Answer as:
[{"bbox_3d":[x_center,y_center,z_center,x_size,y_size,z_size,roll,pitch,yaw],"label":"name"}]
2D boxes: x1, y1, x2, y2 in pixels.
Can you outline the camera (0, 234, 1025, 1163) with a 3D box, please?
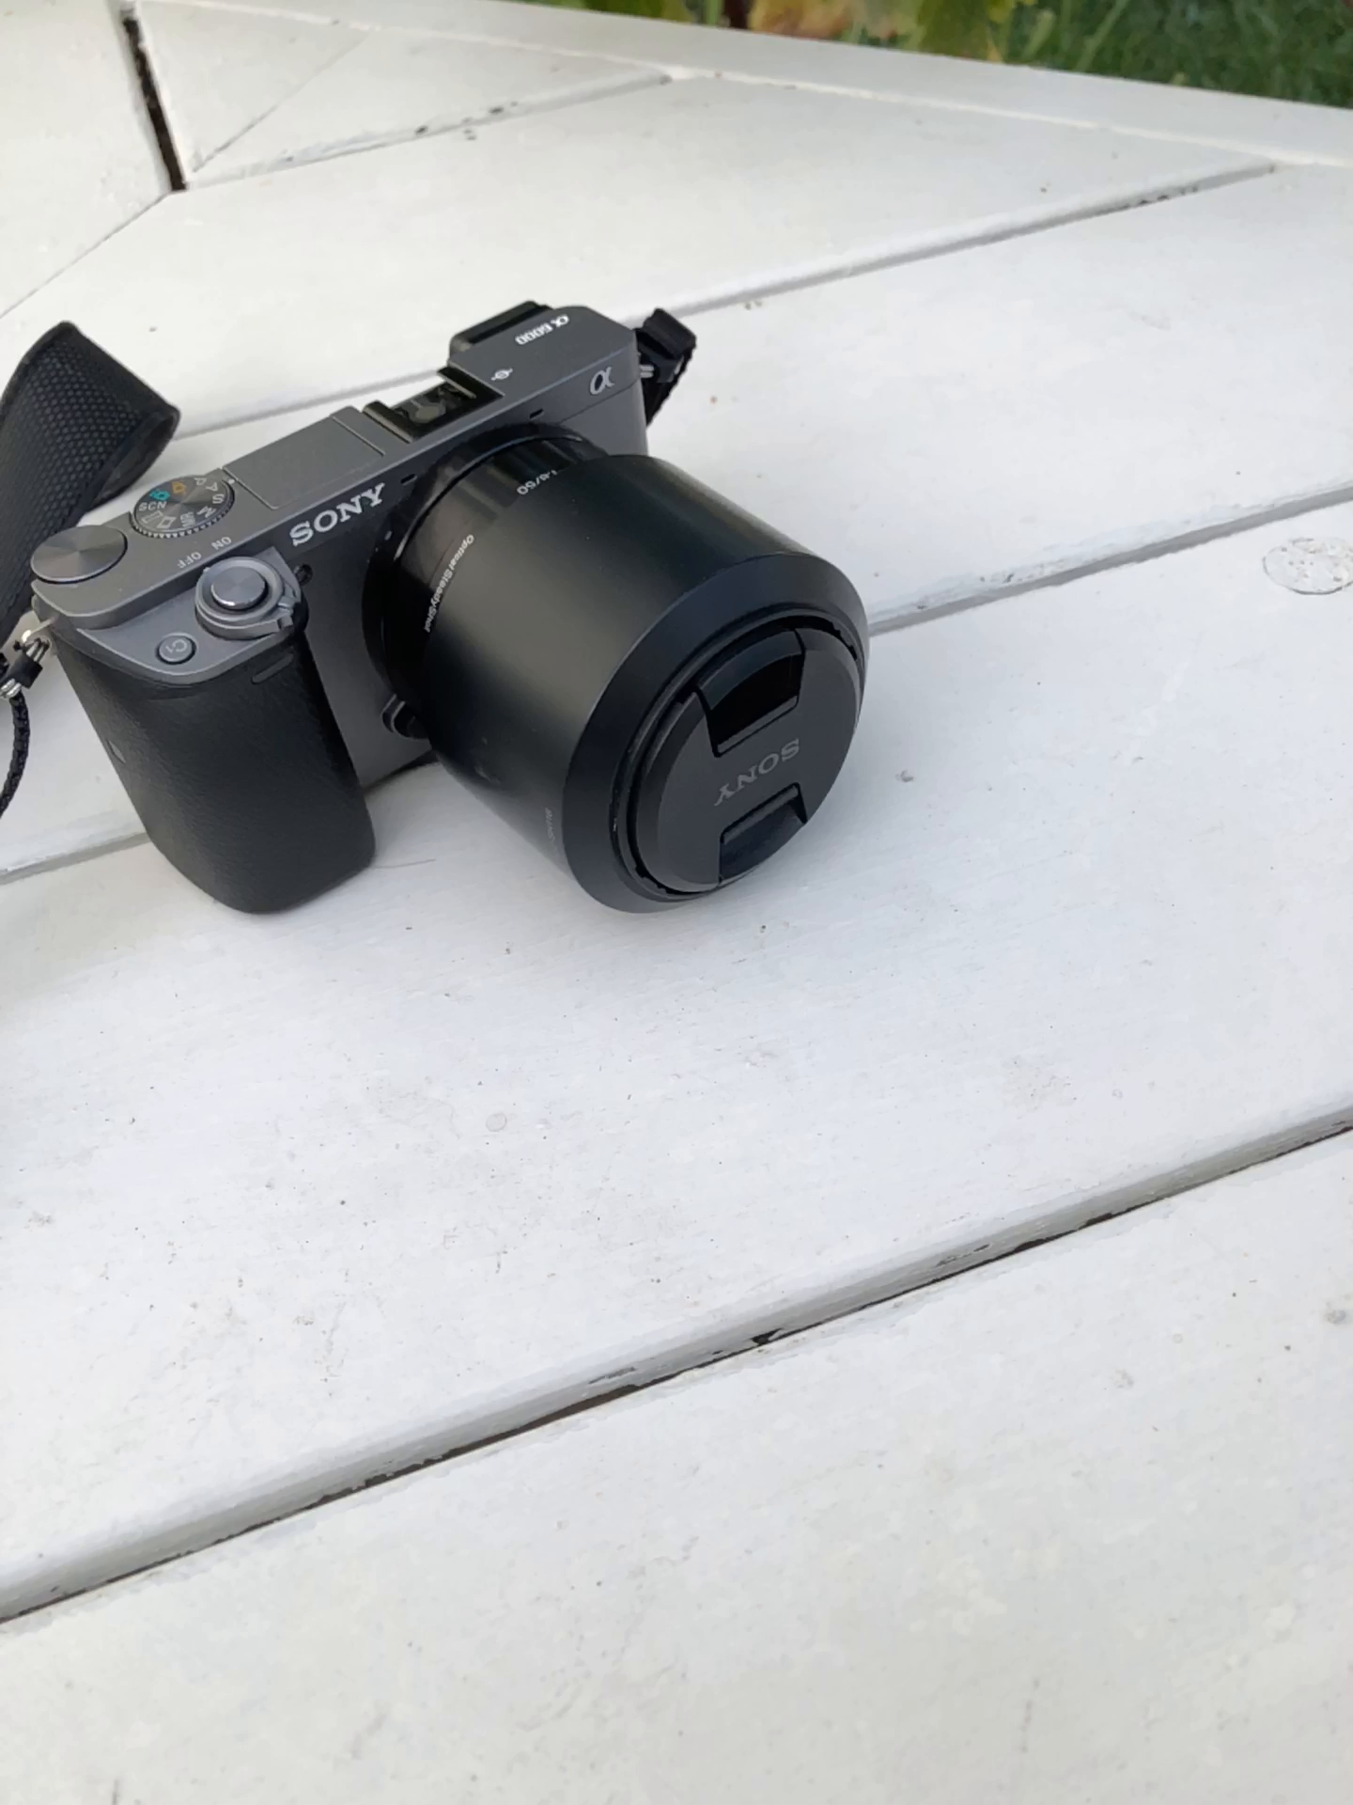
[{"bbox_3d":[-0.029,-0.047,0.273,0.140,0.070,0.110,-34,54,-24],"label":"camera"}]
